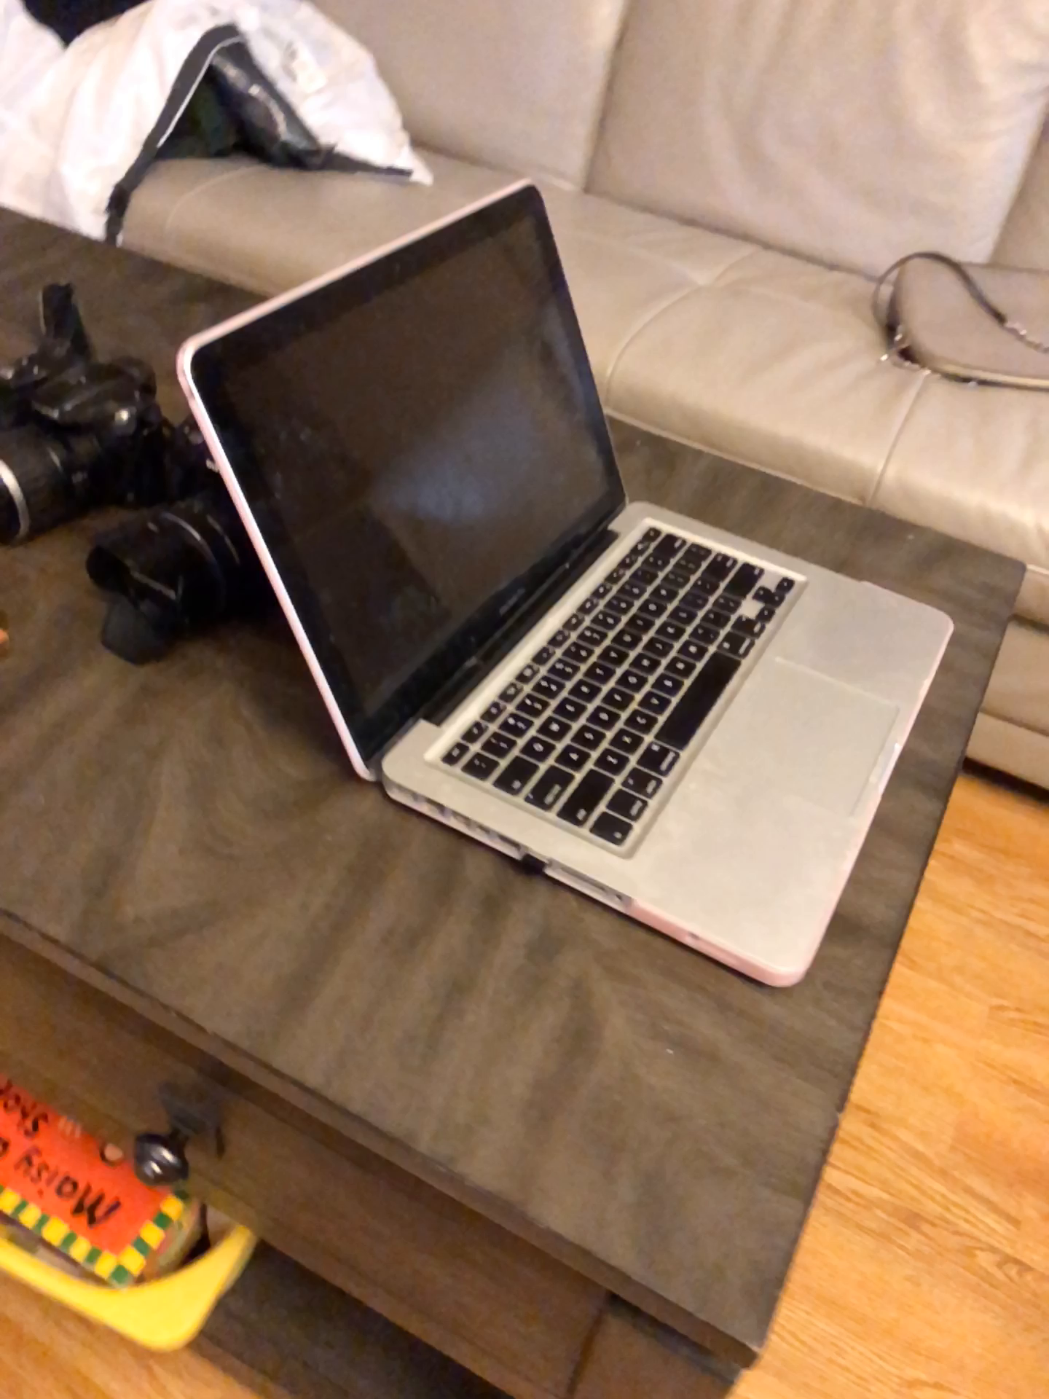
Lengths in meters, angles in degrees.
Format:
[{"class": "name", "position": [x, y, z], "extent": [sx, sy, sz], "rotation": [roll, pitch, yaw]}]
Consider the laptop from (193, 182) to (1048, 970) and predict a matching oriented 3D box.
[{"class": "laptop", "position": [0.063, -0.098, 0.607], "extent": [0.321, 0.185, 0.313], "rotation": [24, 43, 17]}]
